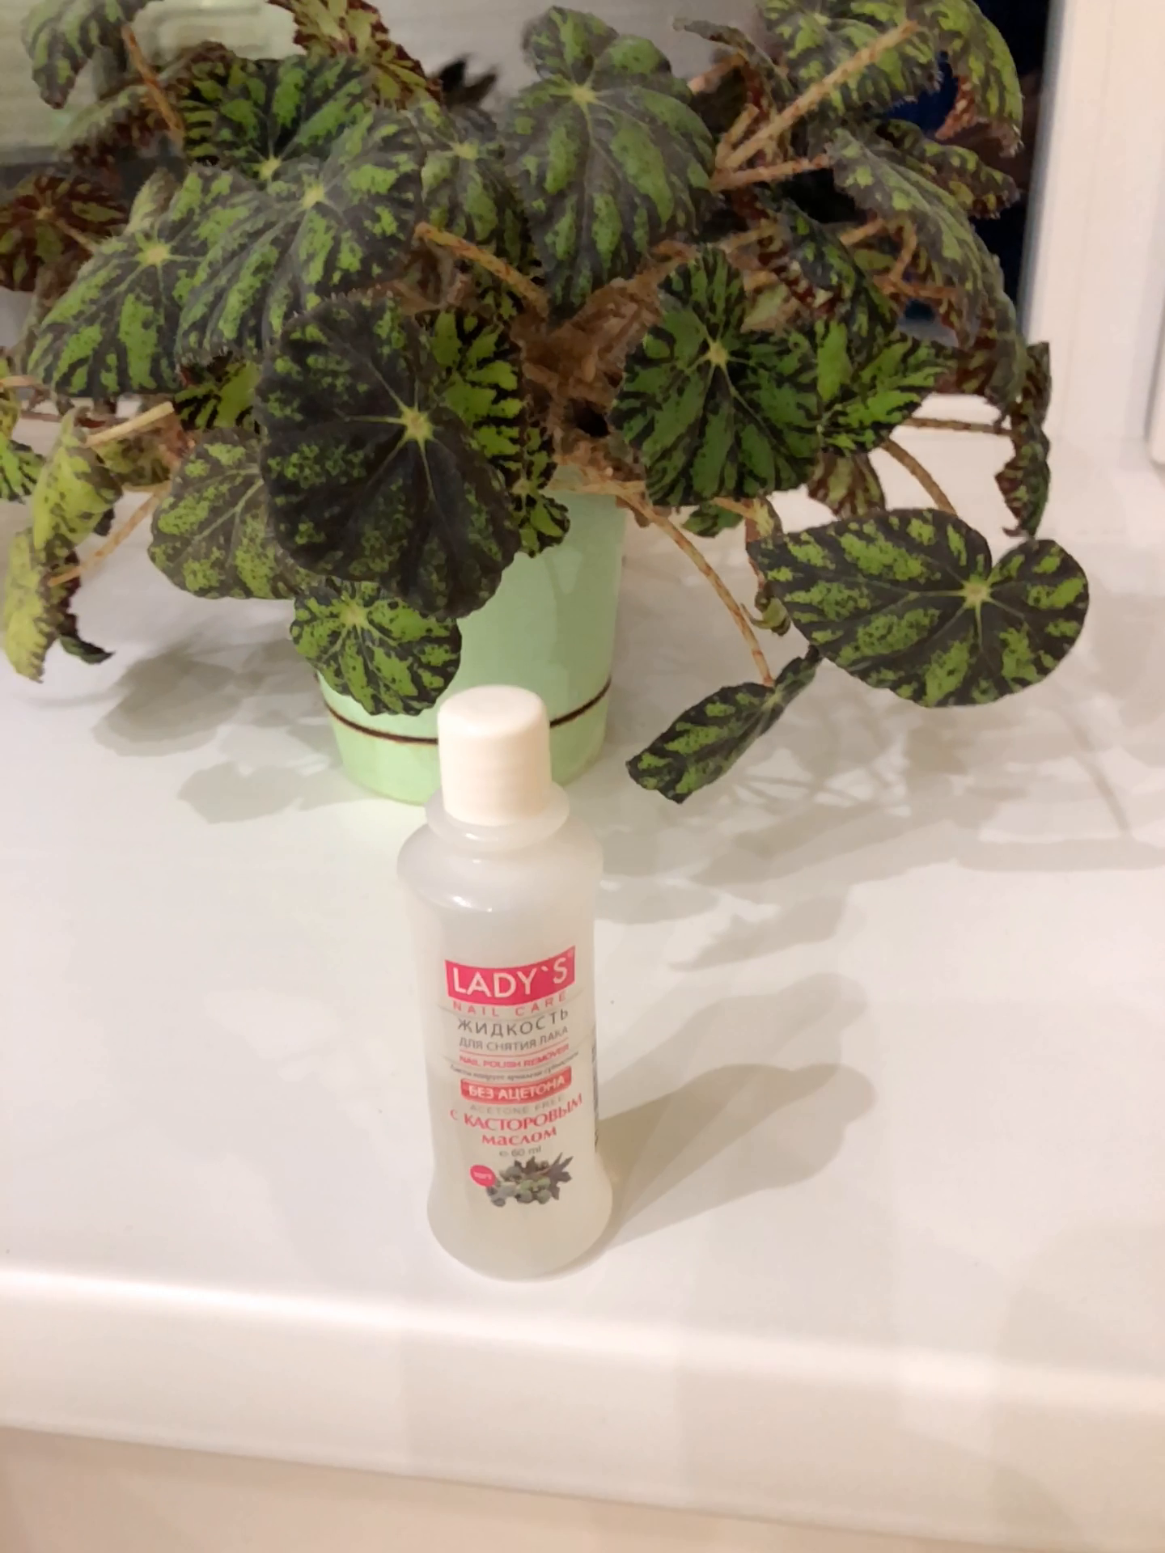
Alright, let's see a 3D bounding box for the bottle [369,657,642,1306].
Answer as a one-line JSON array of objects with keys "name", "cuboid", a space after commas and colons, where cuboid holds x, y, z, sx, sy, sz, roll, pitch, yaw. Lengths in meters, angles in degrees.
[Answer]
[{"name": "bottle", "cuboid": [-0.012, 0.037, 0.224, 0.037, 0.105, 0.037, -2, 27, 1]}]
